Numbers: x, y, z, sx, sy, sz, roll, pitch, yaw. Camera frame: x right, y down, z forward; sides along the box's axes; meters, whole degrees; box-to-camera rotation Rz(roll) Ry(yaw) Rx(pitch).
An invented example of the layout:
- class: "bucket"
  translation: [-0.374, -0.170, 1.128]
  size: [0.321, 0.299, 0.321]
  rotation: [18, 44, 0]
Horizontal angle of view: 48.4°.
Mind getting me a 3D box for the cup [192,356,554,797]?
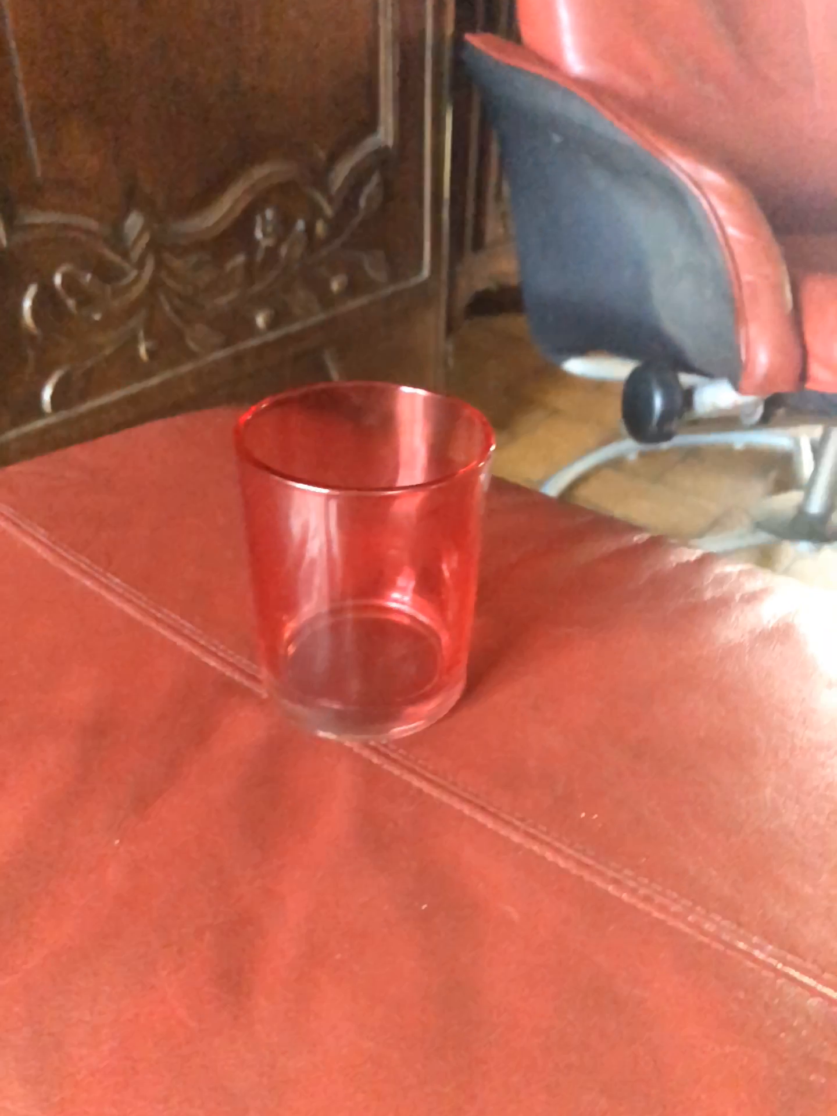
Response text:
- class: "cup"
  translation: [-0.010, 0.002, 0.271]
  size: [0.070, 0.089, 0.070]
  rotation: [1, 33, -1]
